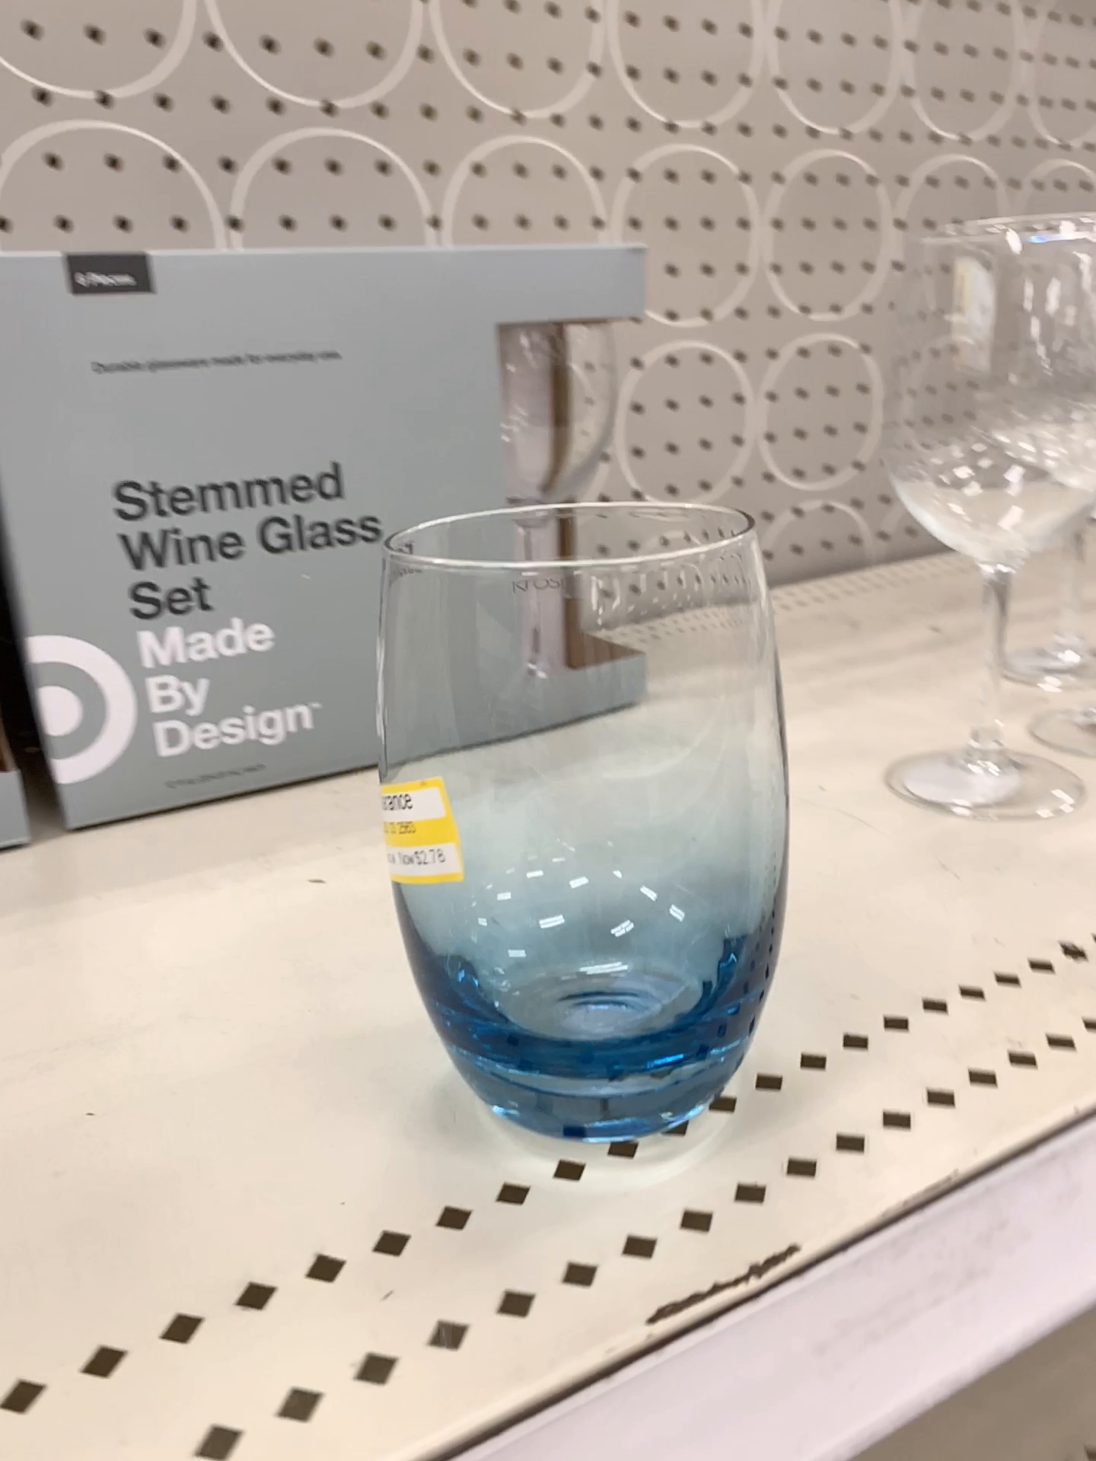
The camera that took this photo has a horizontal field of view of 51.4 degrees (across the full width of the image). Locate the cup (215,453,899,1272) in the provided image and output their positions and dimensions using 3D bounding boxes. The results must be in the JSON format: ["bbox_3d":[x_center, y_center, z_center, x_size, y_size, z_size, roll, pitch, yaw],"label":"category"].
[{"bbox_3d":[0.007,0.012,0.227,0.090,0.119,0.090,-2,19,1],"label":"cup"}]
